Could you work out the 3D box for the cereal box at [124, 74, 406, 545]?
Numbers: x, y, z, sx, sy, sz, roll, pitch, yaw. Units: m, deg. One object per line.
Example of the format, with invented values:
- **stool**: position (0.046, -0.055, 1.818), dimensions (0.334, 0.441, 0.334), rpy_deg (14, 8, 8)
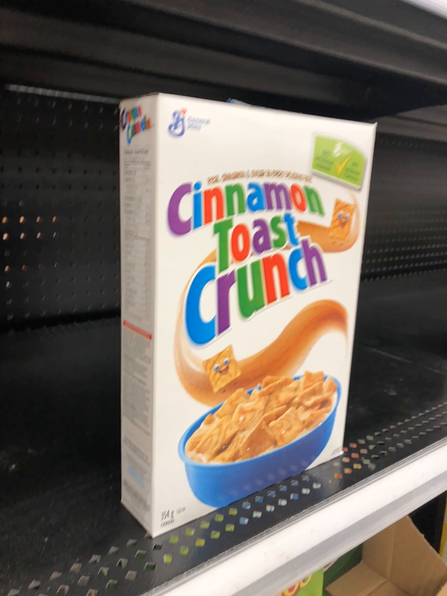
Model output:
- **cereal box**: position (0.035, 0.004, 0.365), dimensions (0.210, 0.279, 0.050), rpy_deg (-7, 16, -36)
